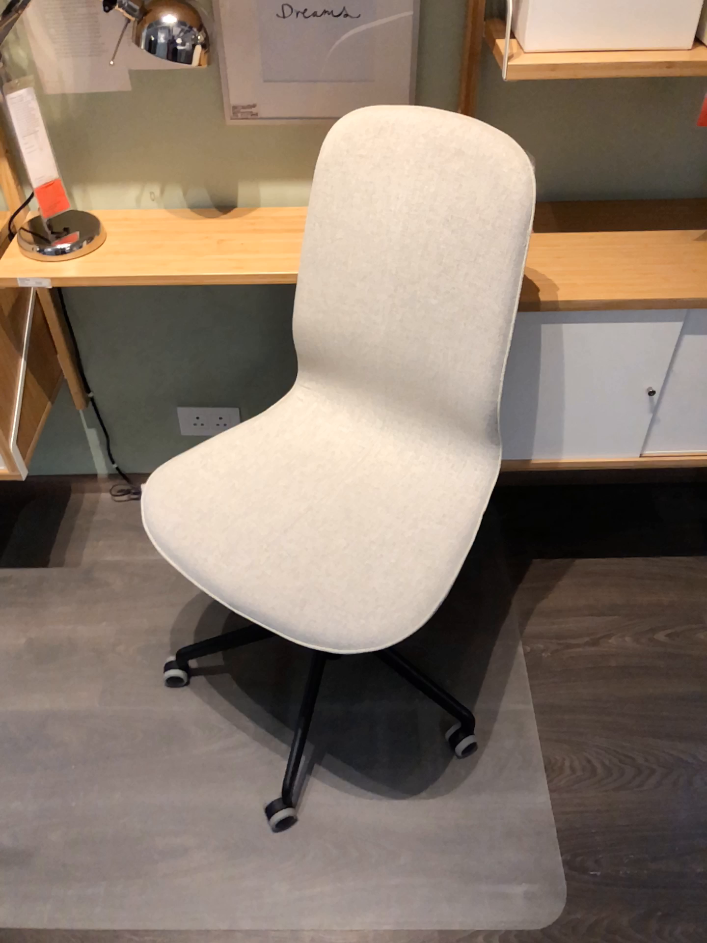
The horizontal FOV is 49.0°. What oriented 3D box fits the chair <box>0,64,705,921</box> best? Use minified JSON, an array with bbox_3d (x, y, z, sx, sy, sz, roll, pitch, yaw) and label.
[{"bbox_3d":[-0.037,0.020,1.155,0.622,0.904,0.653,28,50,27],"label":"chair"}]
